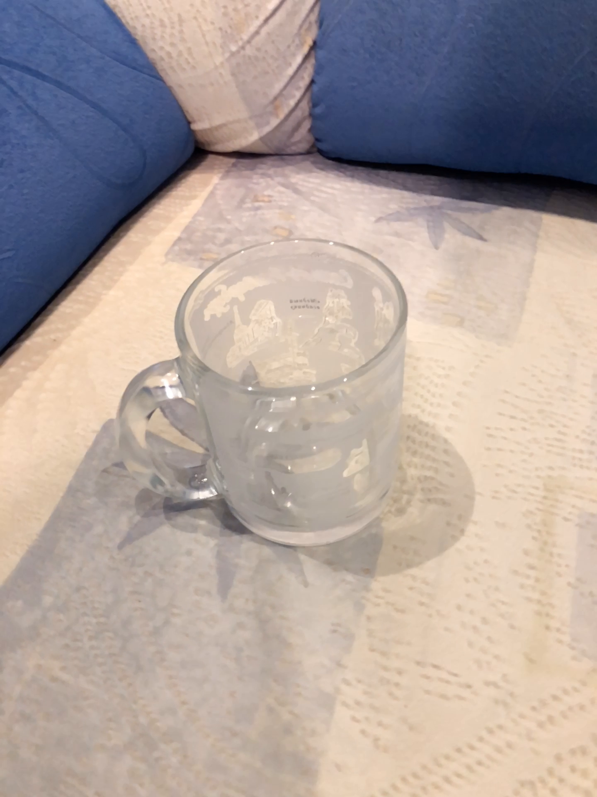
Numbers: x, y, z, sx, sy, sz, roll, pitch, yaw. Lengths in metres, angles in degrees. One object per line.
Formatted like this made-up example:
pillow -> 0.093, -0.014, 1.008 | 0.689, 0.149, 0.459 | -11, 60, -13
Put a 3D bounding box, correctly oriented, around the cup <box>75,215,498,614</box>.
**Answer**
cup -> -0.007, 0.003, 0.247 | 0.120, 0.079, 0.091 | -16, 47, -8
